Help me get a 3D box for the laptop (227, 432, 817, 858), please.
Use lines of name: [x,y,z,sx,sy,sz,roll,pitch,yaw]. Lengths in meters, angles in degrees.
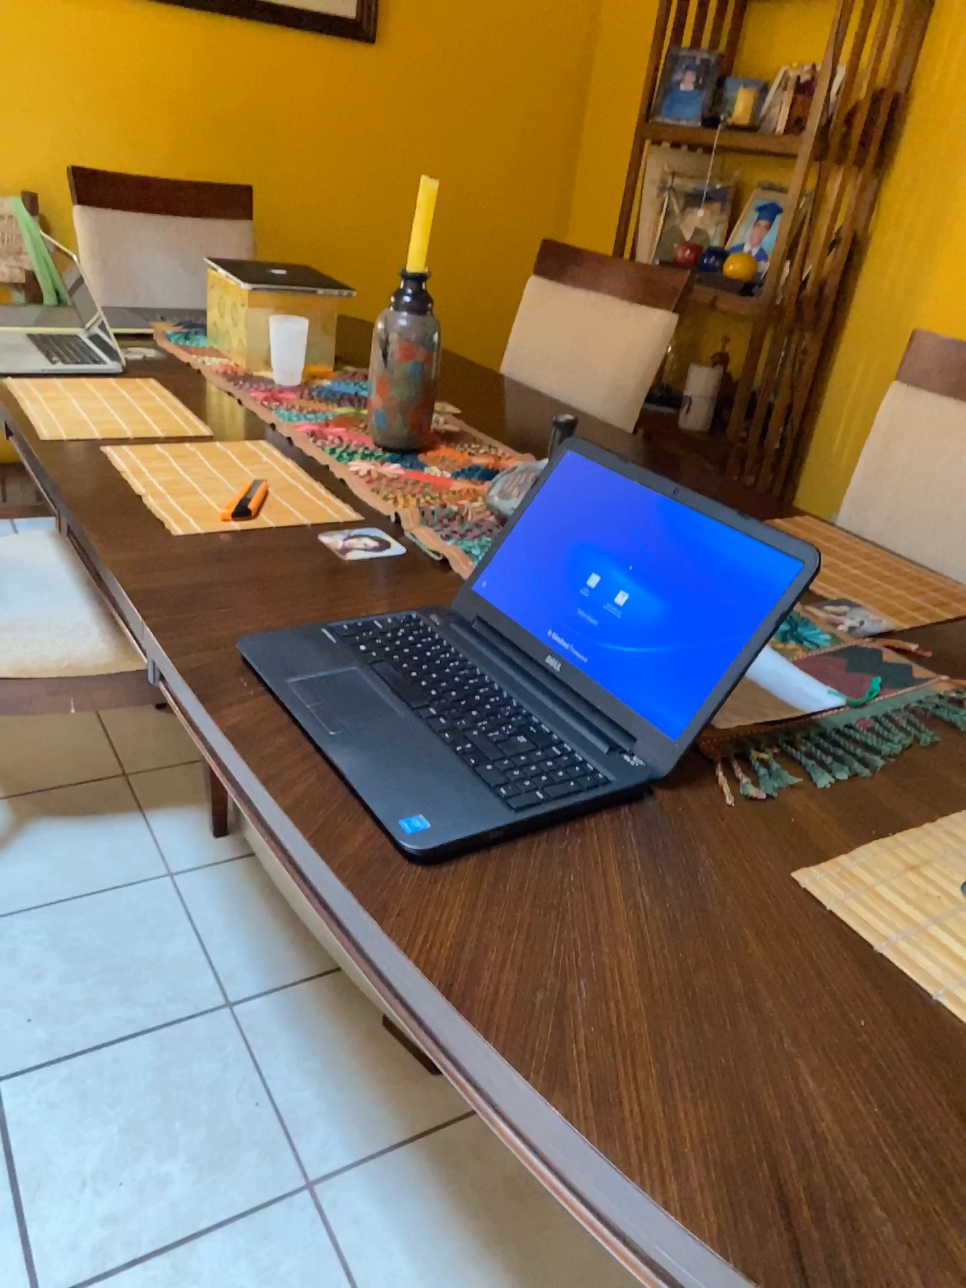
laptop: [0.018,-0.041,0.931,0.396,0.194,0.368,-11,33,-33]
